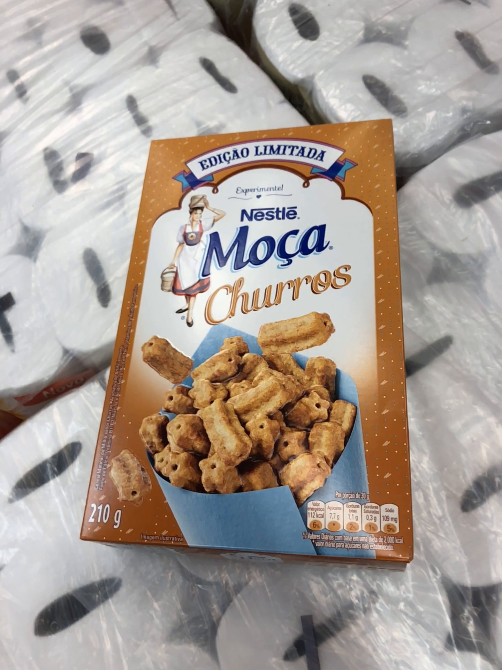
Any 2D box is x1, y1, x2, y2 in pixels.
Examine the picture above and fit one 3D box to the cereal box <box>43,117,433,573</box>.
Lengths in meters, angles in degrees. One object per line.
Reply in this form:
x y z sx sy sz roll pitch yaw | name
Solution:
0.001 -0.005 0.310 0.170 0.050 0.241 -1 65 11 | cereal box
